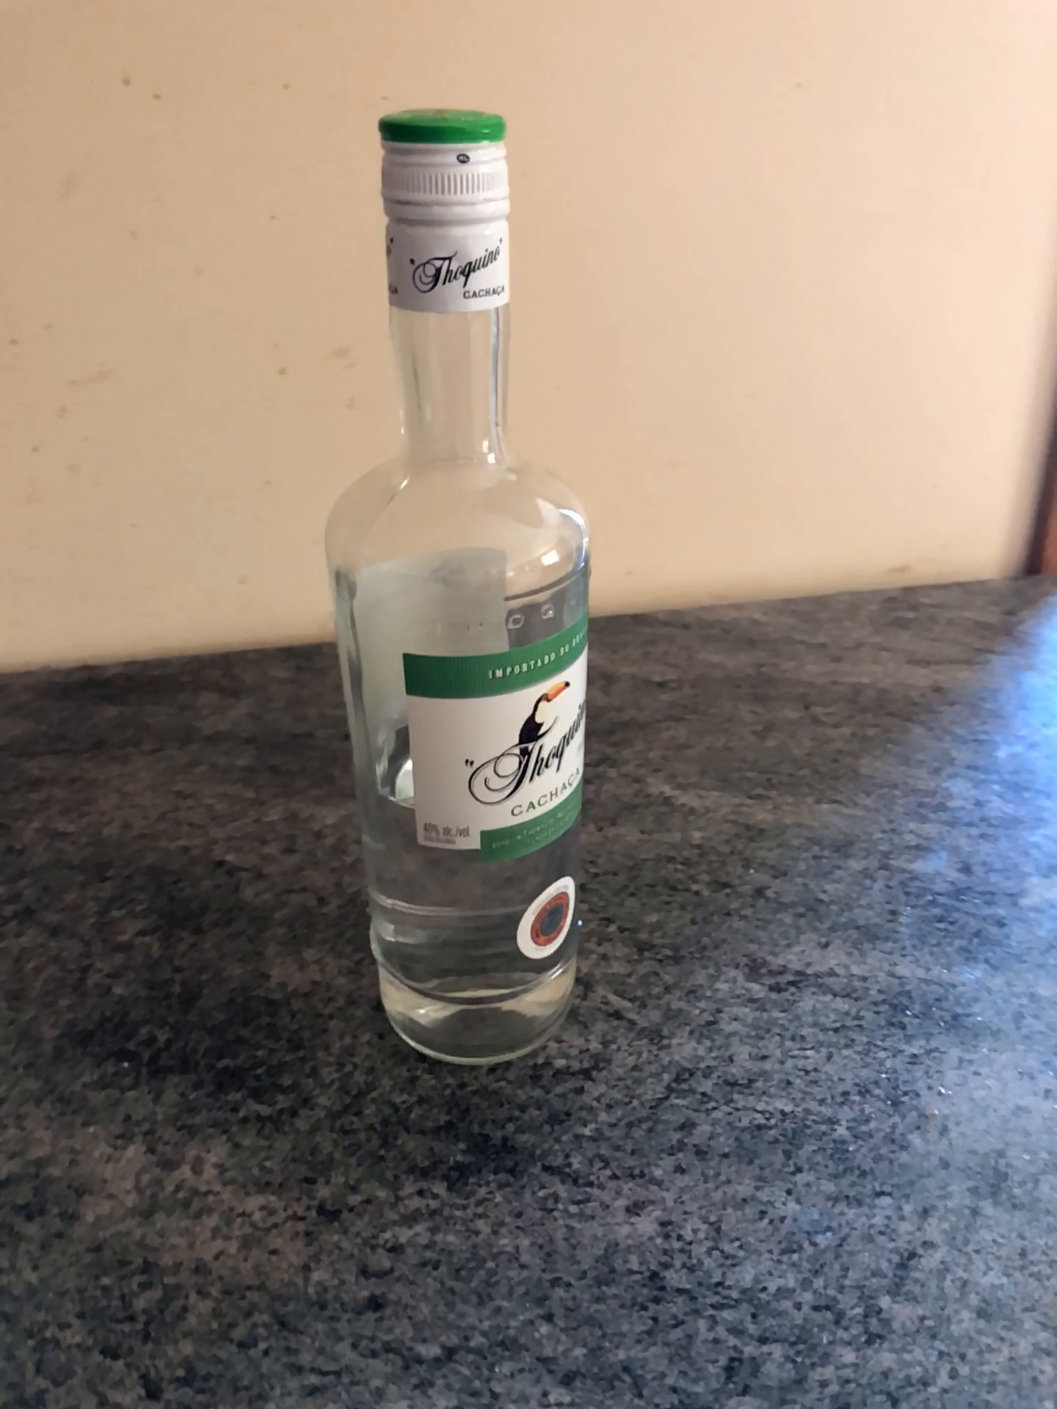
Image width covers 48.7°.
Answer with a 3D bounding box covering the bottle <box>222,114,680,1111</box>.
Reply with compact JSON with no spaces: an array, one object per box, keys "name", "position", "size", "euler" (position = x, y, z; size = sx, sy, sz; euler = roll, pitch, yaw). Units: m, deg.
[{"name":"bottle","position":[-0.018,-0.021,0.354],"size":[0.080,0.278,0.080],"euler":[0,28,0]}]
